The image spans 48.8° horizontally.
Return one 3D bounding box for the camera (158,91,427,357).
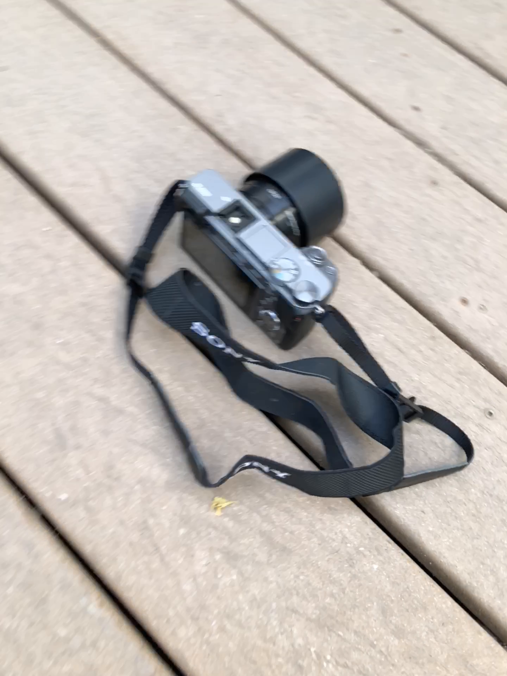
[{"bbox_3d":[0.021,-0.079,0.379,0.110,0.070,0.130,-39,75,-24],"label":"camera"}]
